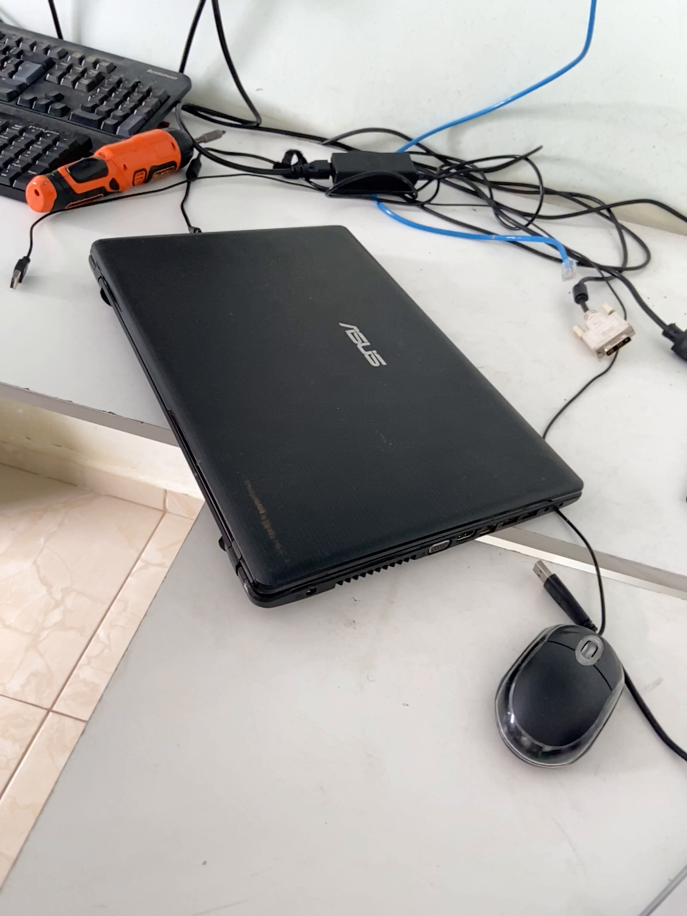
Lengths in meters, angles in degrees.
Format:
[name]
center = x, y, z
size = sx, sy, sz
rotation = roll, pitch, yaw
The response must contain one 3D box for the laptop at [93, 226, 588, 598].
[laptop]
center = -0.023, -0.080, 0.559
size = 0.253, 0.010, 0.382
rotation = -13, 49, -26
